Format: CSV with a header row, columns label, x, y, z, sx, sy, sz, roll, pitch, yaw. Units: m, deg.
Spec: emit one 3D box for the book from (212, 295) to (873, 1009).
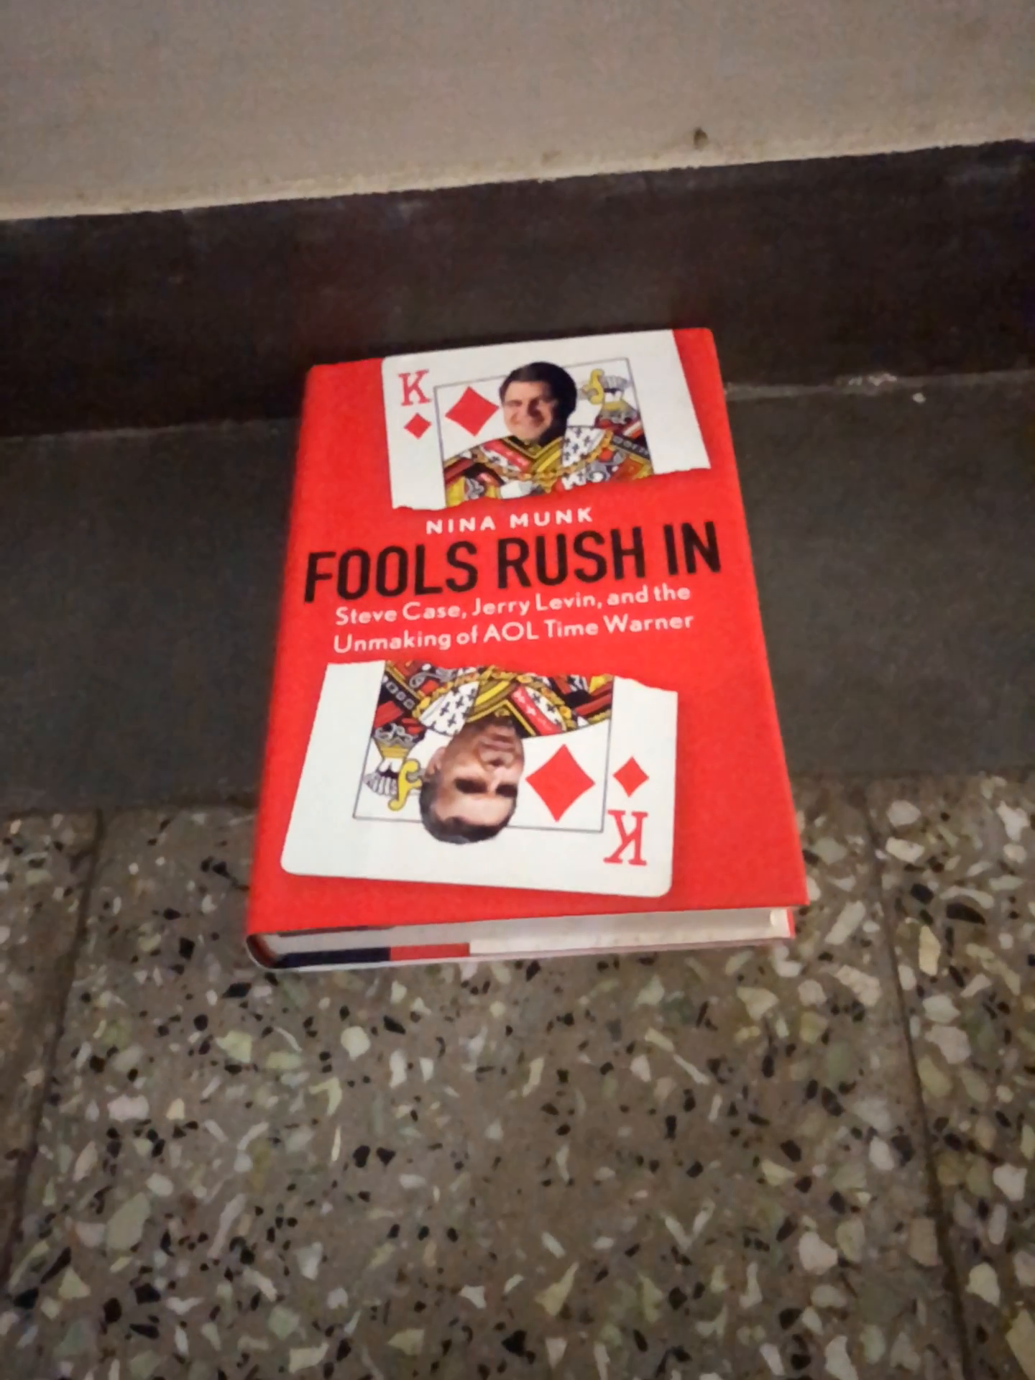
label,x,y,z,sx,sy,sz,roll,pitch,yaw
book,0.002,-0.032,0.403,0.180,0.030,0.271,-4,55,2
